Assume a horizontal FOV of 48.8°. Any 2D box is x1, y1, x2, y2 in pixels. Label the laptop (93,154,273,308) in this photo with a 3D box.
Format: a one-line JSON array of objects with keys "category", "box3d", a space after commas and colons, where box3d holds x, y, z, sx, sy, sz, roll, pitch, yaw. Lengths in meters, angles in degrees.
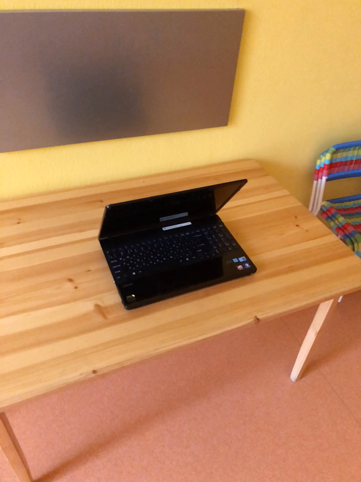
[{"category": "laptop", "box3d": [-0.005, -0.040, 1.006, 0.362, 0.200, 0.248, -13, 45, -20]}]
